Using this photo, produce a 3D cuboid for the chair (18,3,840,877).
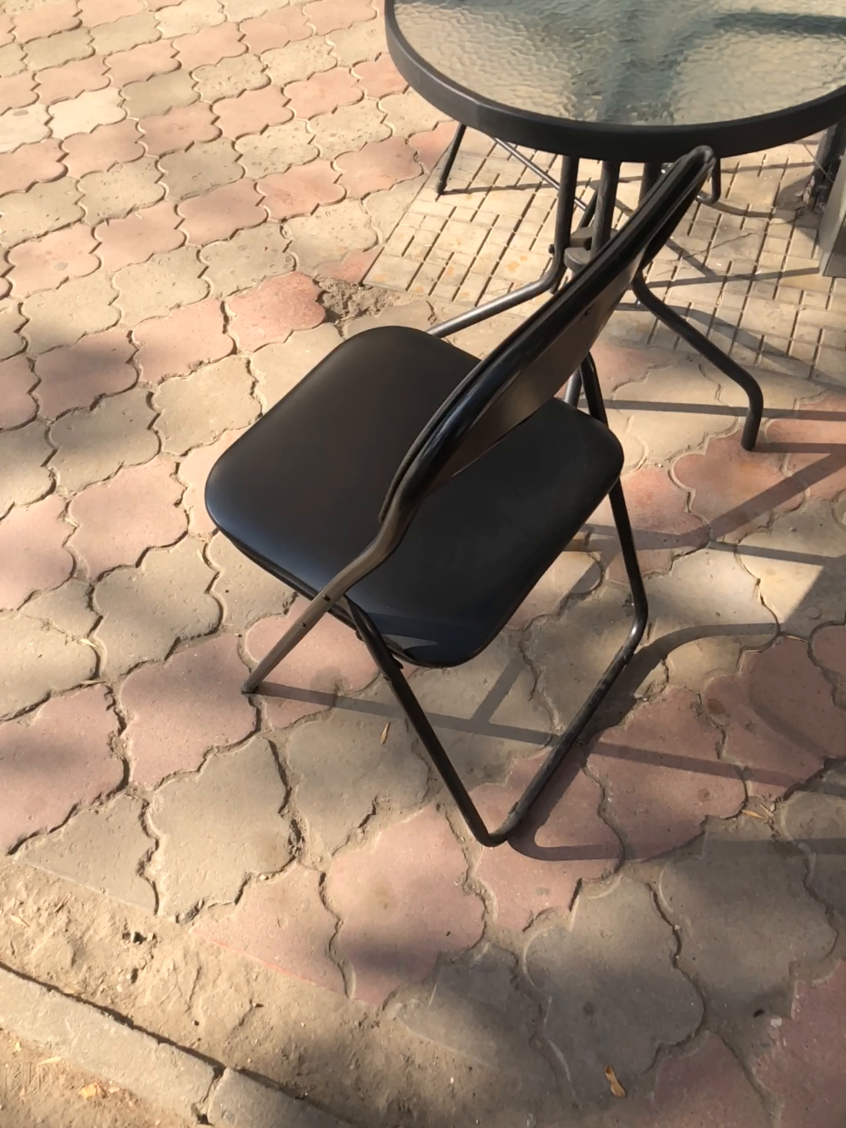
[{"bbox_3d":[0.030,-0.102,1.040,0.471,0.698,0.501,29,60,22],"label":"chair"}]
